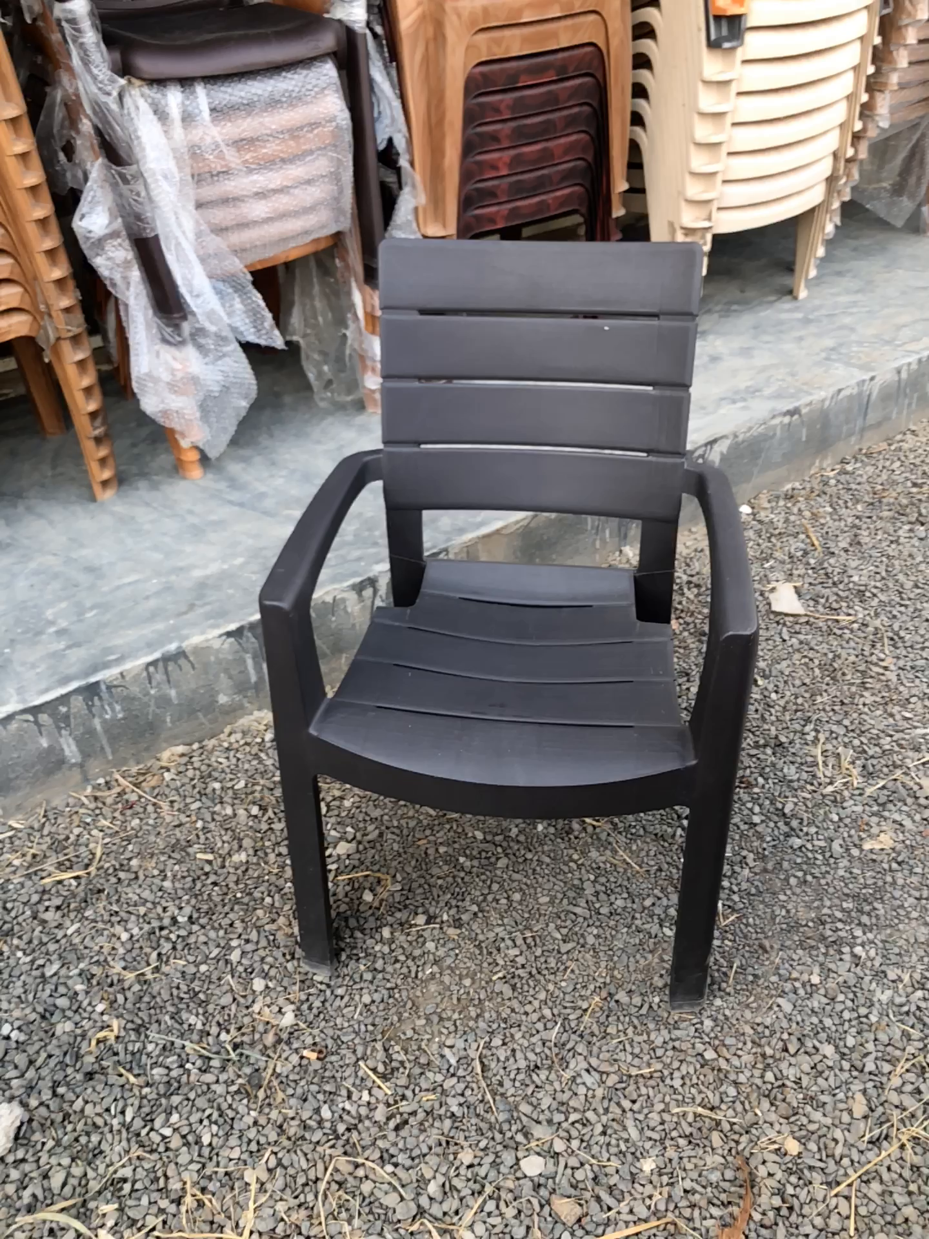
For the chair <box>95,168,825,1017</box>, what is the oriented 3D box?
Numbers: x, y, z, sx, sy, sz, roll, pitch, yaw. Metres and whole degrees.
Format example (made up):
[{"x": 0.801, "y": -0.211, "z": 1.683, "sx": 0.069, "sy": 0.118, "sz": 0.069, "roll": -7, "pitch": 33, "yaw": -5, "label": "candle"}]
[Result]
[{"x": 0.050, "y": -0.057, "z": 1.296, "sx": 0.570, "sy": 0.796, "sz": 0.684, "roll": 3, "pitch": 38, "yaw": 8, "label": "chair"}]
